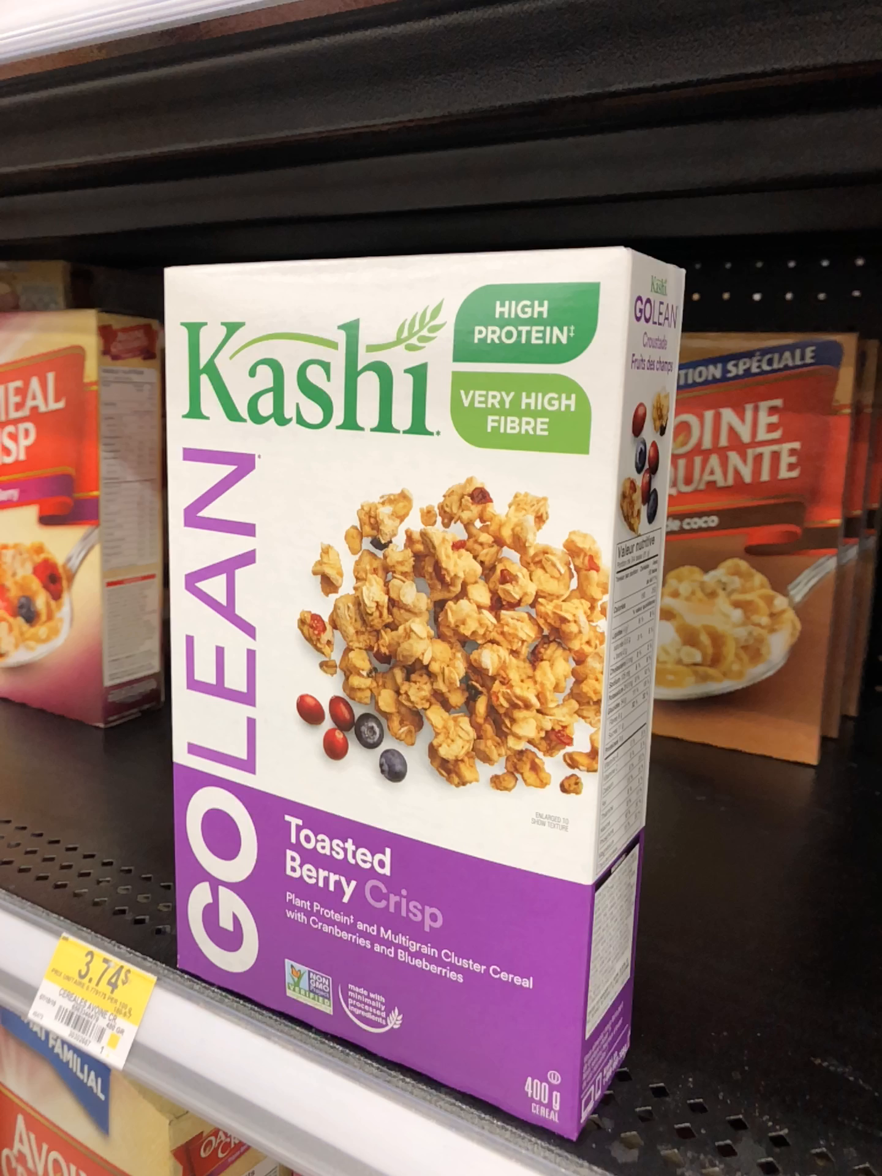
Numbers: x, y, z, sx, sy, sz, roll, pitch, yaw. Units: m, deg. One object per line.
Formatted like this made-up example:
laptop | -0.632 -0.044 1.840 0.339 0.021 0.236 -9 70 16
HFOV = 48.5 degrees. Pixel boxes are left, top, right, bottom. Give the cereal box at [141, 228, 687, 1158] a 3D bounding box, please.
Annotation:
cereal box | -0.017 0.026 0.334 0.170 0.269 0.050 8 13 29
